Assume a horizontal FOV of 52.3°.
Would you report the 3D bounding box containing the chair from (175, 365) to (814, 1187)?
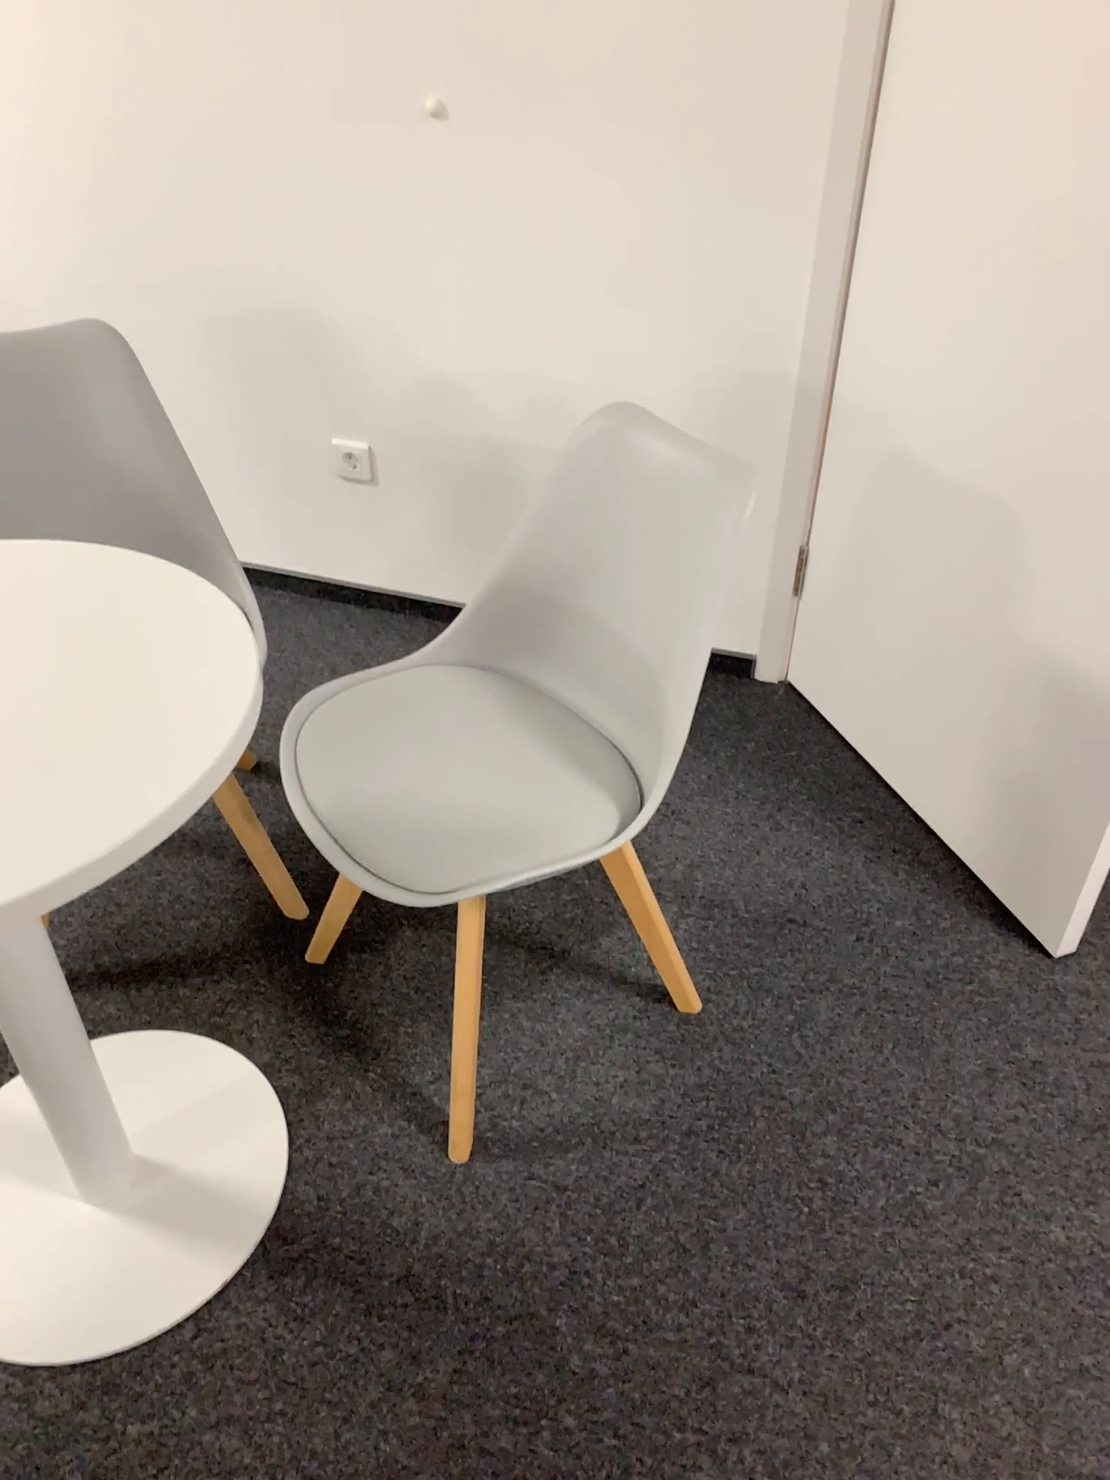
[{"bbox_3d":[-0.074,0.039,1.441,0.522,0.810,0.445,-22,42,-26],"label":"chair"}]
